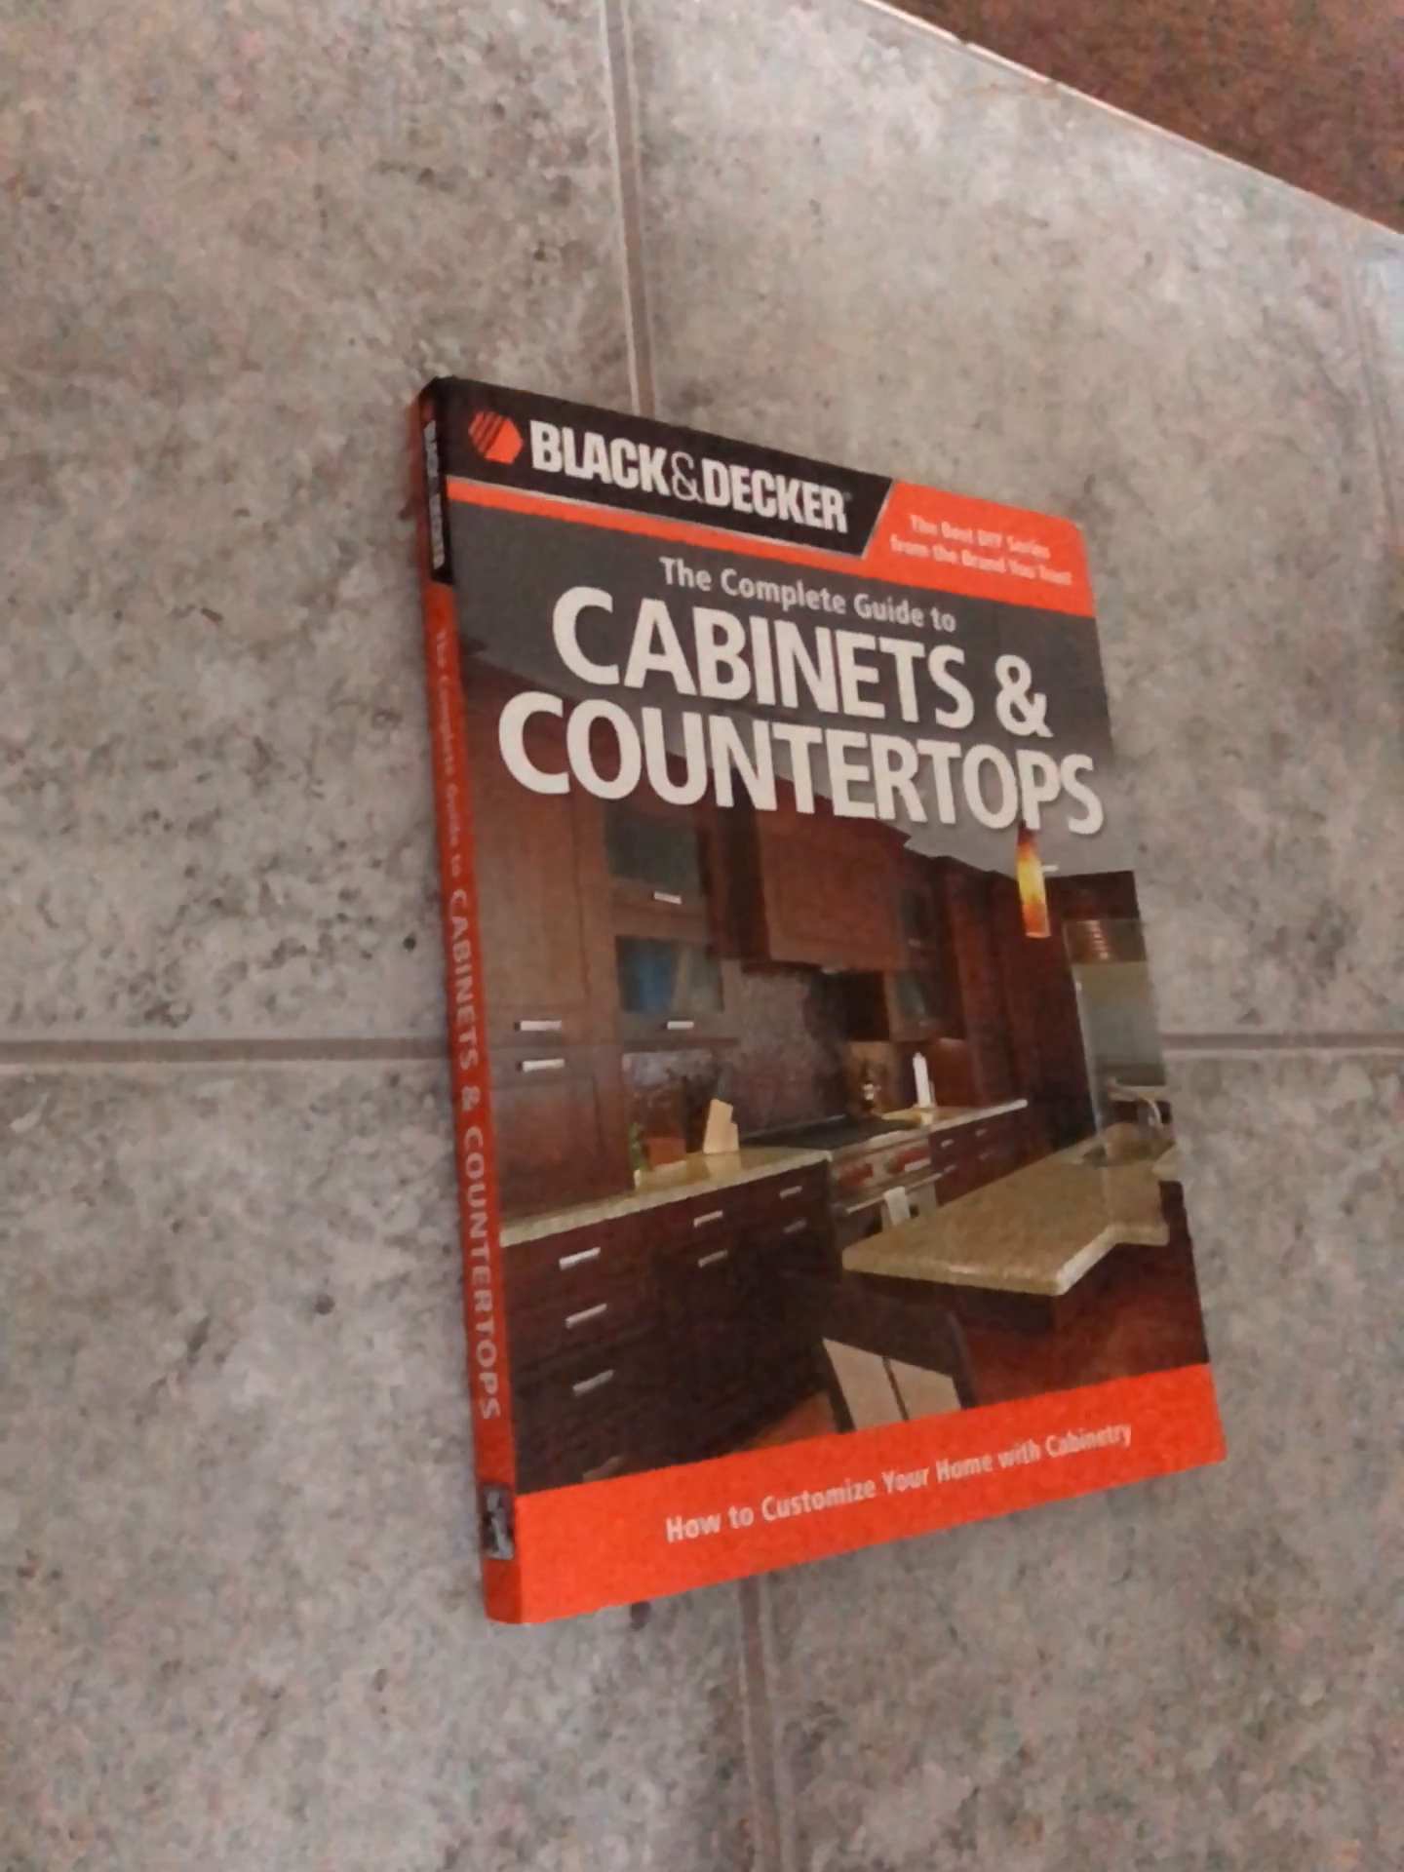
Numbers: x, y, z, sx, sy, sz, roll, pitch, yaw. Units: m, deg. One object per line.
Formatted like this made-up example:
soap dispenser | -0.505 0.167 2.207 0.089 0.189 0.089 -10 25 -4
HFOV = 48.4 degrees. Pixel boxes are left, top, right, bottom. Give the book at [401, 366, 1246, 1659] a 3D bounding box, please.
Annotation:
book | 0.037 0.010 0.401 0.216 0.022 0.281 2 76 -32
